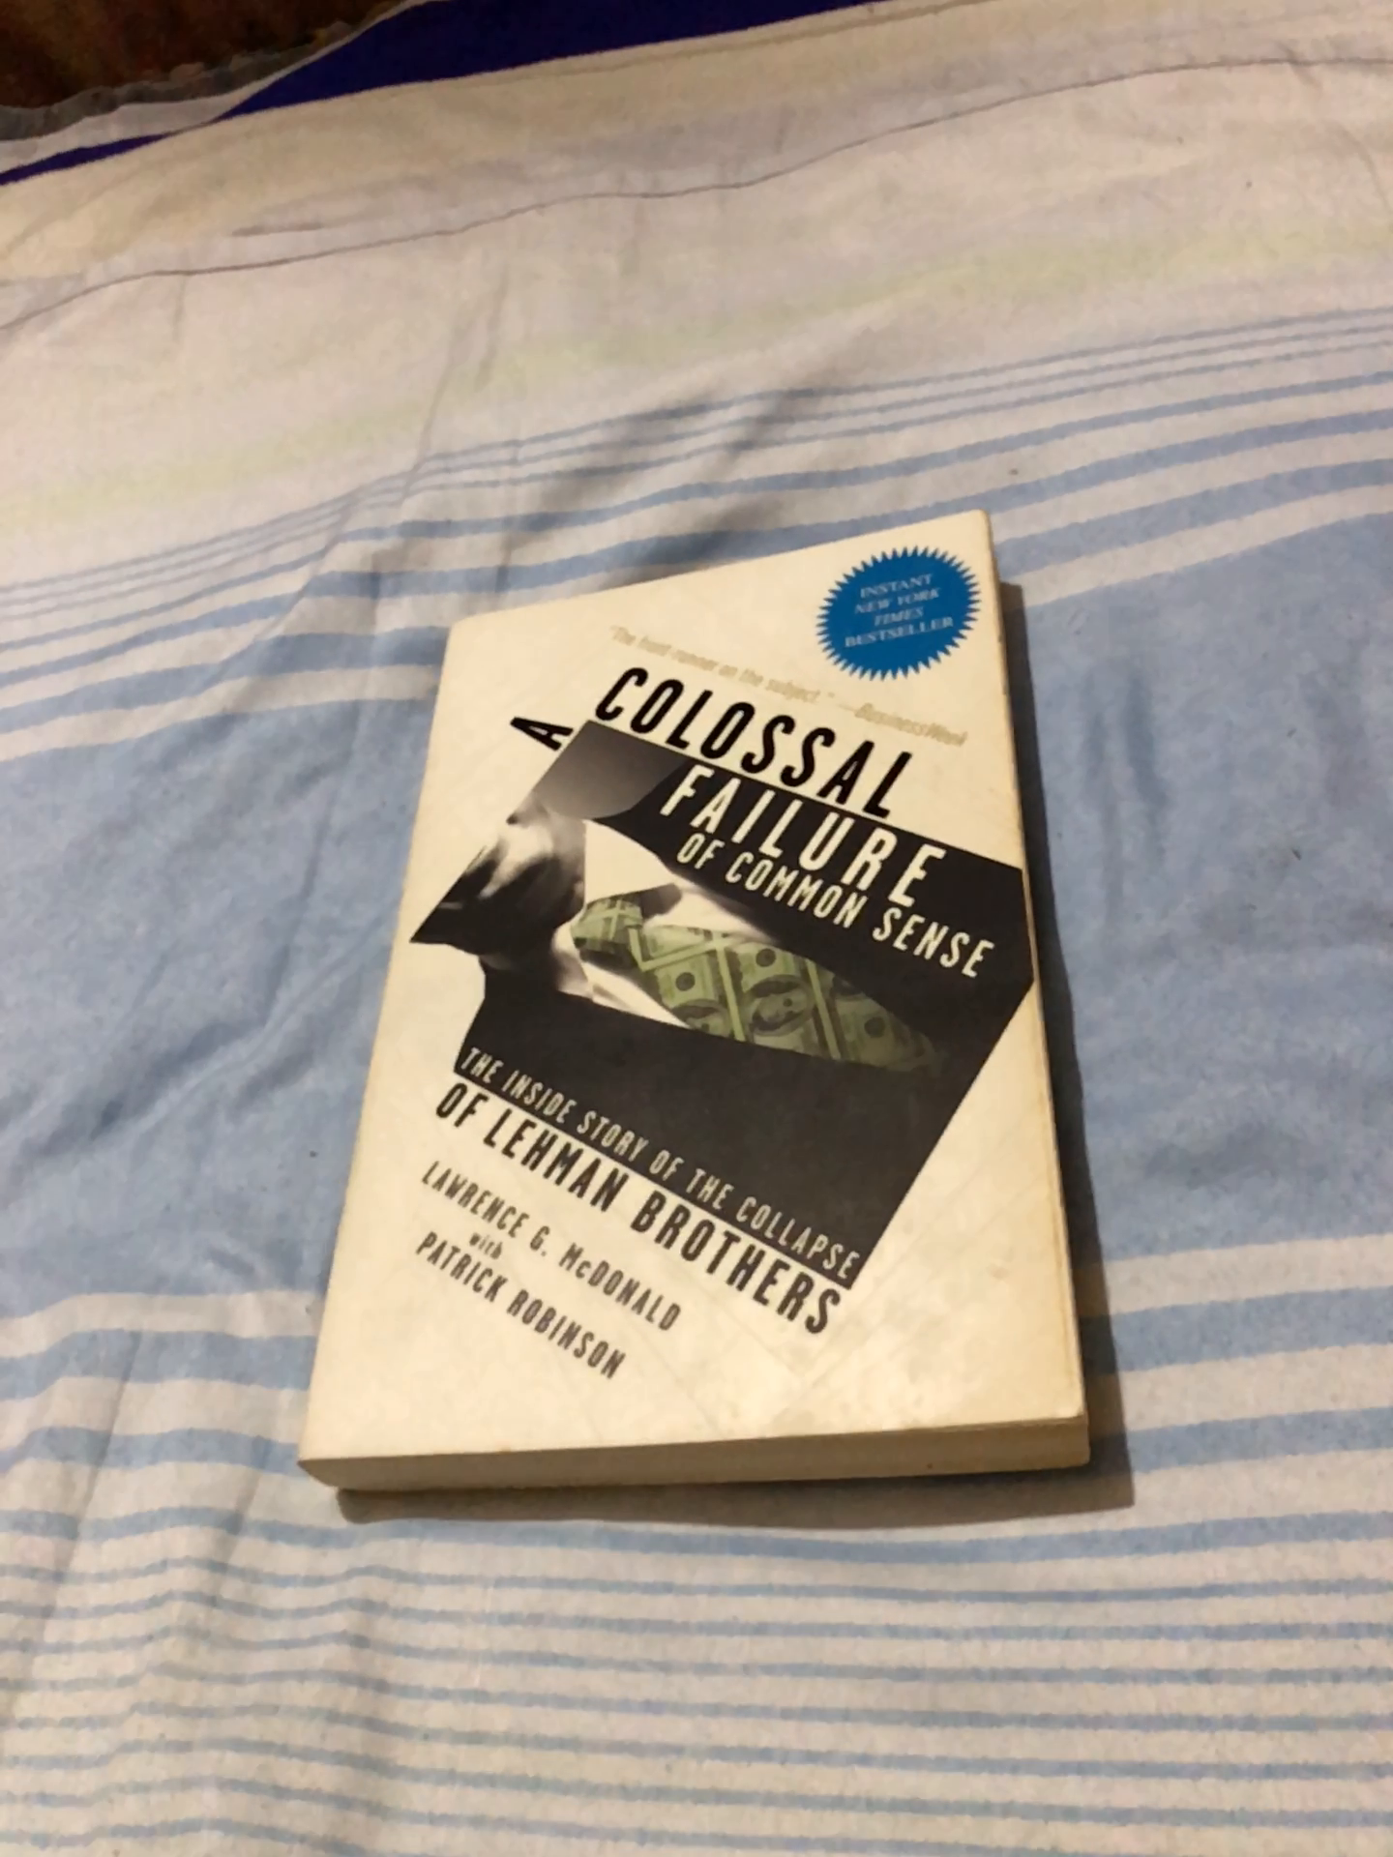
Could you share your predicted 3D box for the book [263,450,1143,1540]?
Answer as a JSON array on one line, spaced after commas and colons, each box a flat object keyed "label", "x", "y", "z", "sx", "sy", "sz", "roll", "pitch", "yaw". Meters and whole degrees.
[{"label": "book", "x": 0.004, "y": 0.003, "z": 0.320, "sx": 0.140, "sy": 0.040, "sz": 0.220, "roll": -8, "pitch": 54, "yaw": 13}]
